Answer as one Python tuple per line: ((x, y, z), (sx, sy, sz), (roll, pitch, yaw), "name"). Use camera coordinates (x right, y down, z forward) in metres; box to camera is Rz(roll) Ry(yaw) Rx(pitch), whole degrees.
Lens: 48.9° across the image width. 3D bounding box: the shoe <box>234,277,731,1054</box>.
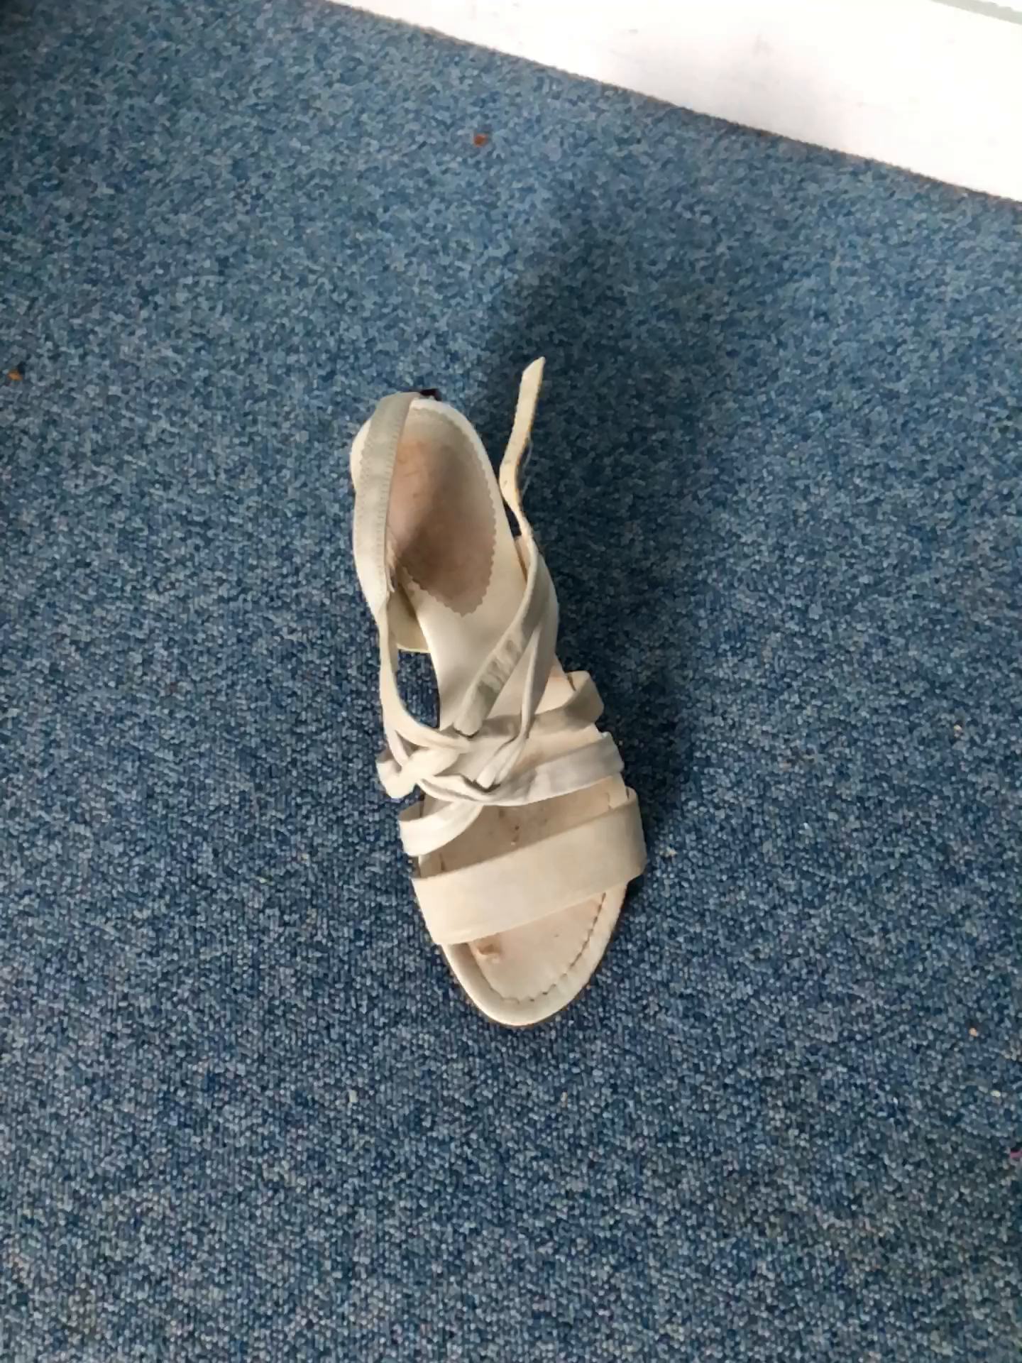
((-0.014, -0.002, 0.408), (0.100, 0.110, 0.240), (-15, 72, -2), "shoe")
